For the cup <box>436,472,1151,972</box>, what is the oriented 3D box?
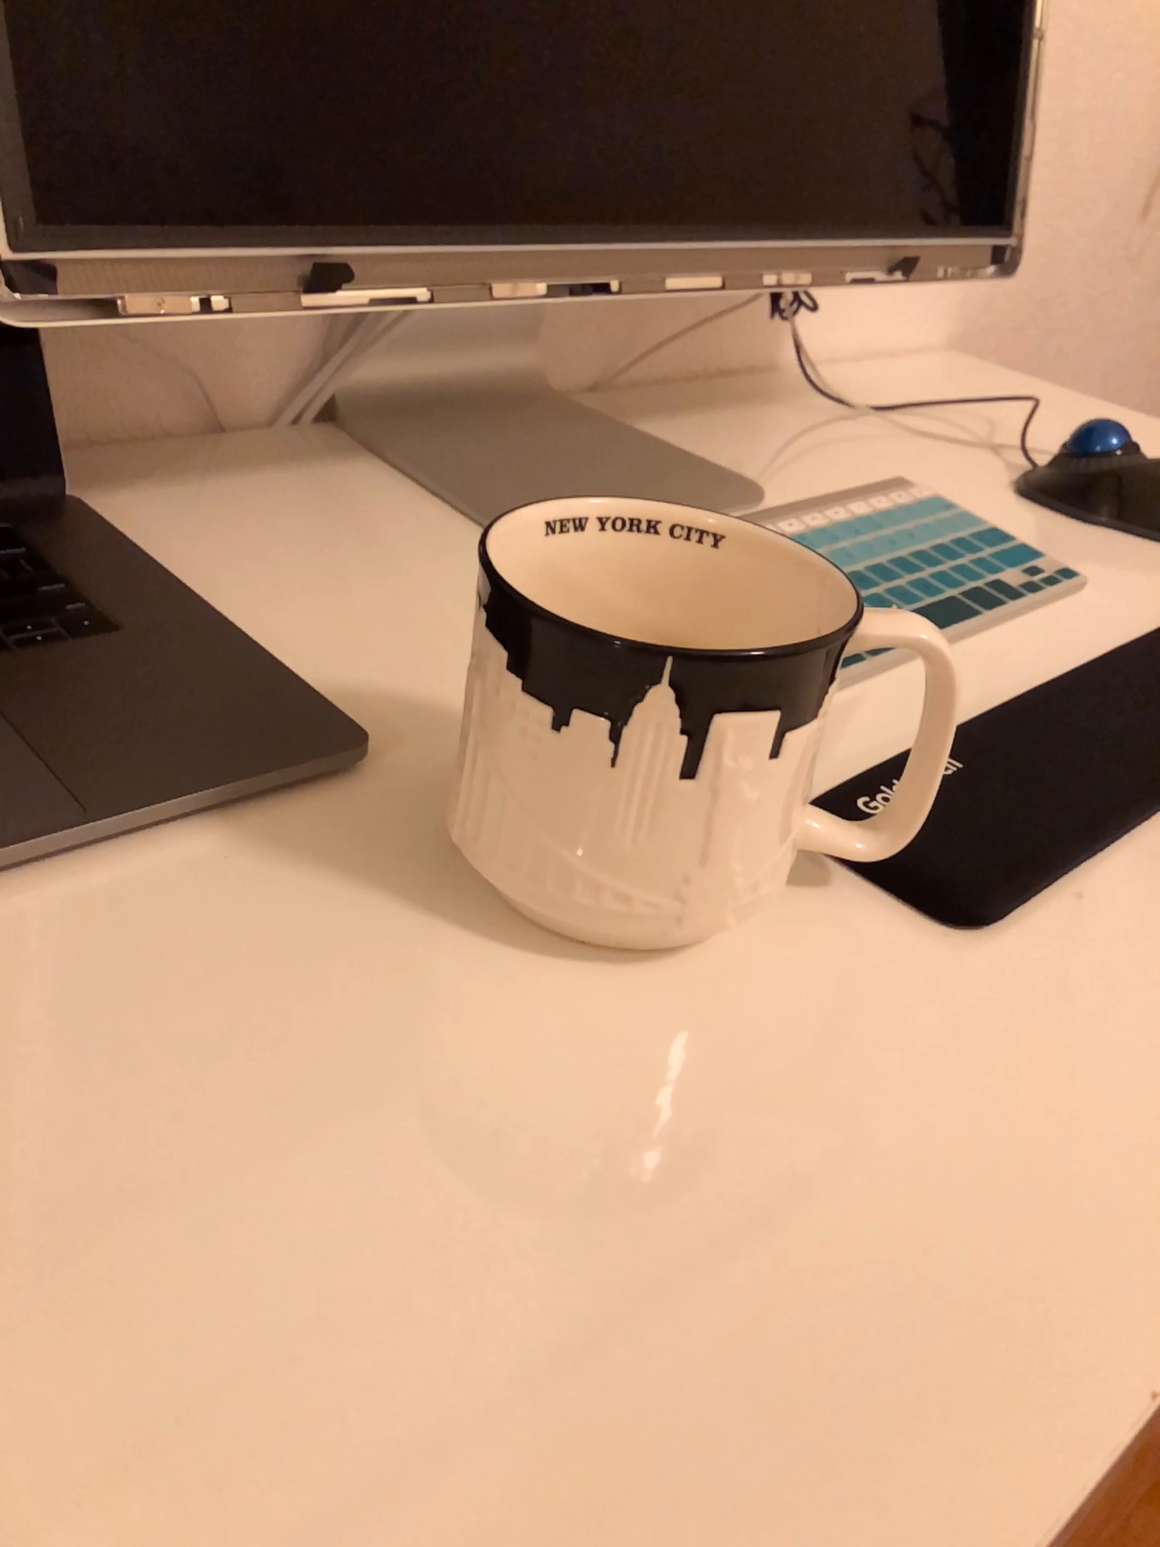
[{"bbox_3d":[0.046,-0.016,0.364,0.160,0.089,0.111,3,32,-11],"label":"cup"}]
